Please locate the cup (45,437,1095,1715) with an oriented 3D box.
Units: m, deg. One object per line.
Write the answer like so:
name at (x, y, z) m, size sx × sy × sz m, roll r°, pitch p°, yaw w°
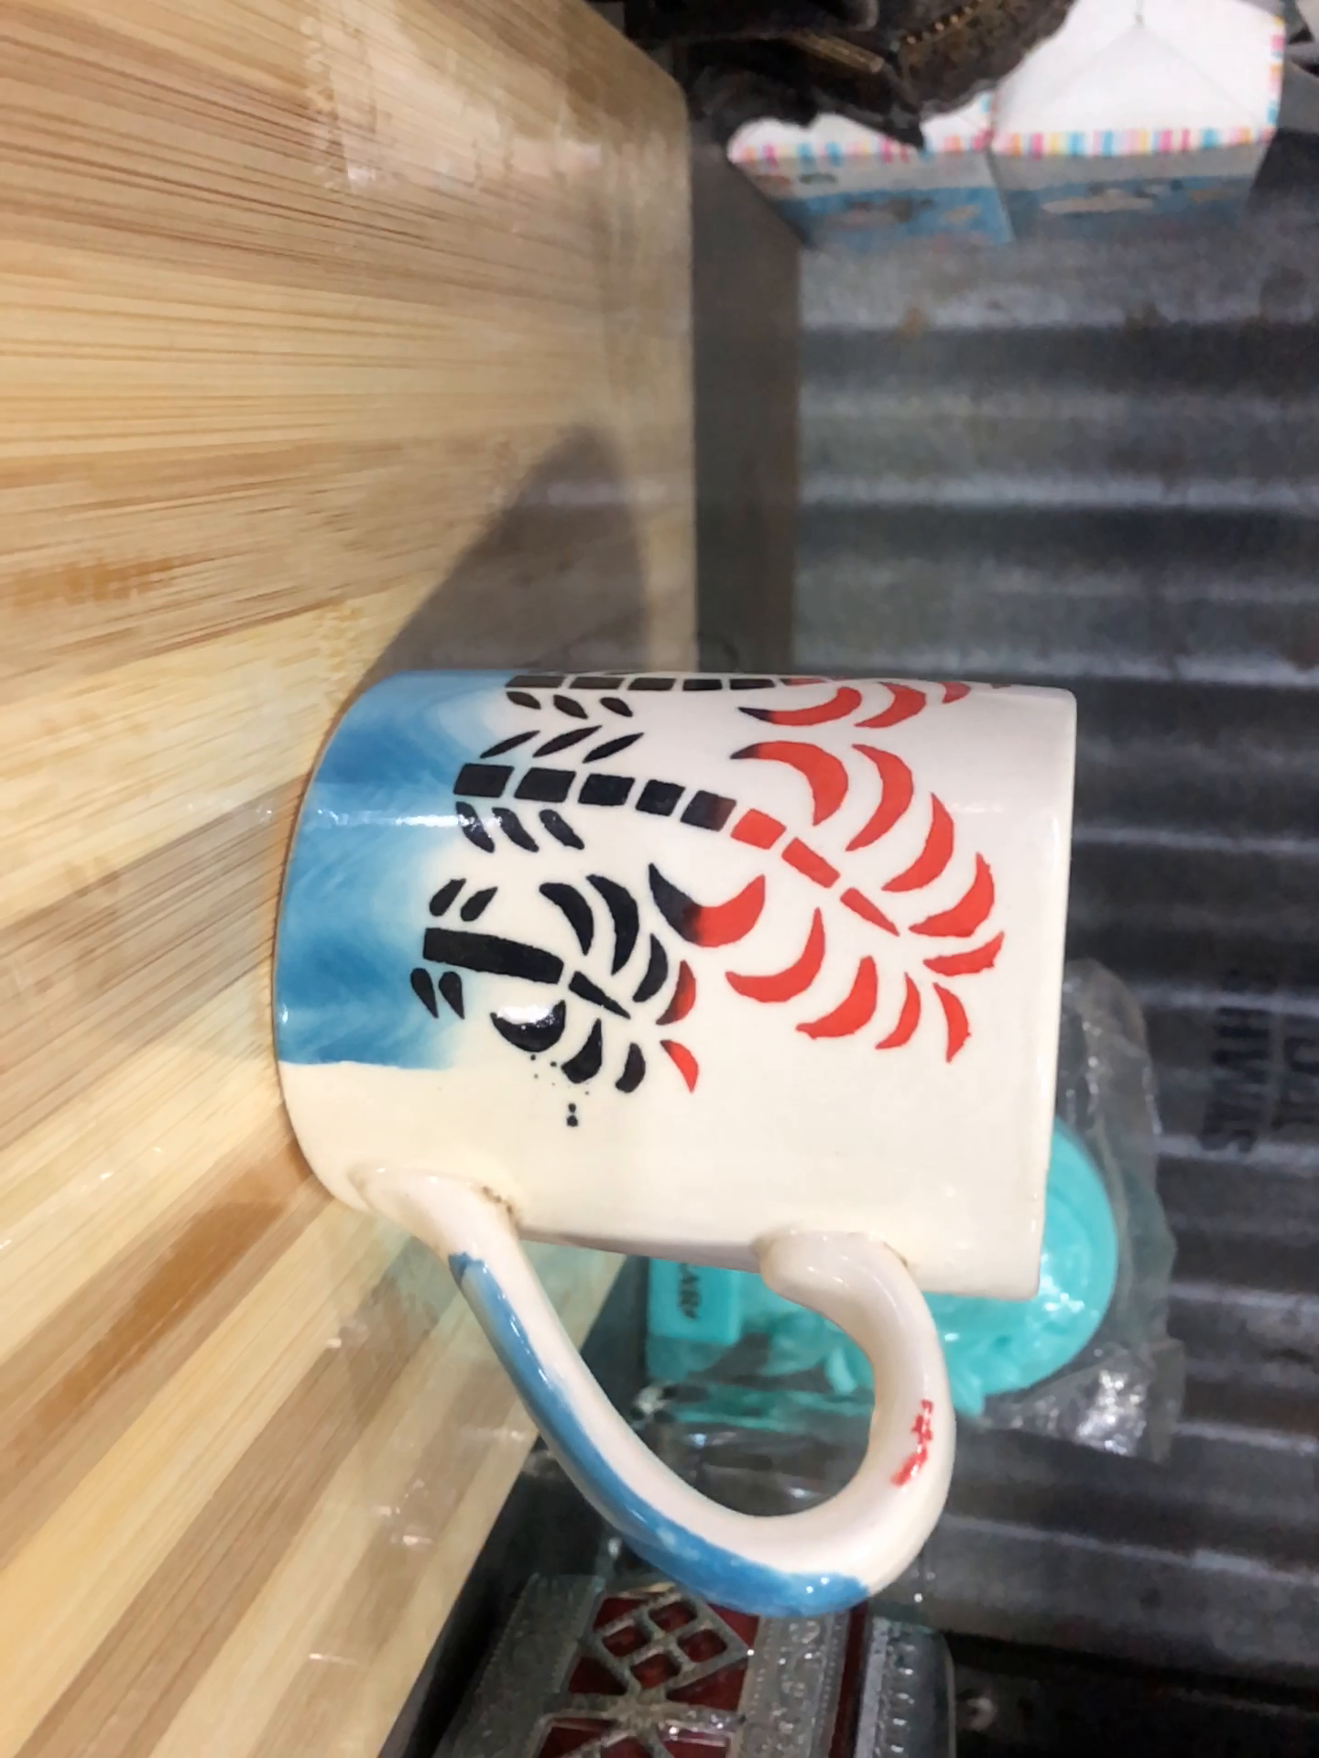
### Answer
cup at (0.007, 0.026, 0.184) m, size 0.100 × 0.080 × 0.120 m, roll 75°, pitch 23°, yaw -56°
